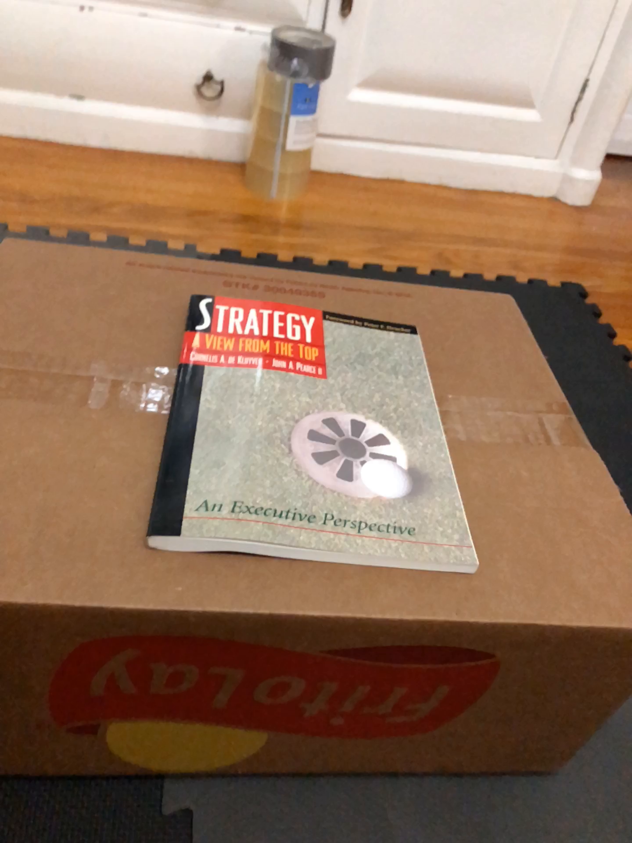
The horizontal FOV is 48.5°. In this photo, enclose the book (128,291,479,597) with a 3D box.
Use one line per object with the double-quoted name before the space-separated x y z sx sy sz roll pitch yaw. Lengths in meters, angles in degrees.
"book" -0.009 -0.001 0.453 0.180 0.020 0.241 6 41 -8
